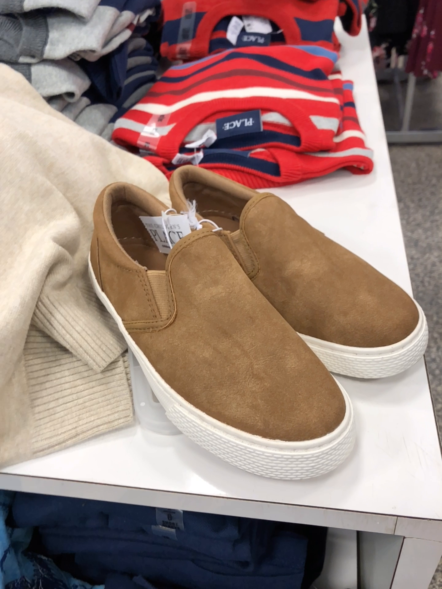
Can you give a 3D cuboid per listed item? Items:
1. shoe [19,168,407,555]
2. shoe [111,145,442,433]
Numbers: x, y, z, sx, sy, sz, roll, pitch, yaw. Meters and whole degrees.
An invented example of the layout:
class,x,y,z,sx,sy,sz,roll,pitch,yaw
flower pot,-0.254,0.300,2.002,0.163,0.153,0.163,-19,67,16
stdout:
class,x,y,z,sx,sy,sz,roll,pitch,yaw
shoe,-0.022,0.012,0.291,0.092,0.080,0.231,-30,44,-23
shoe,0.033,-0.024,0.345,0.092,0.080,0.231,-34,46,-27
